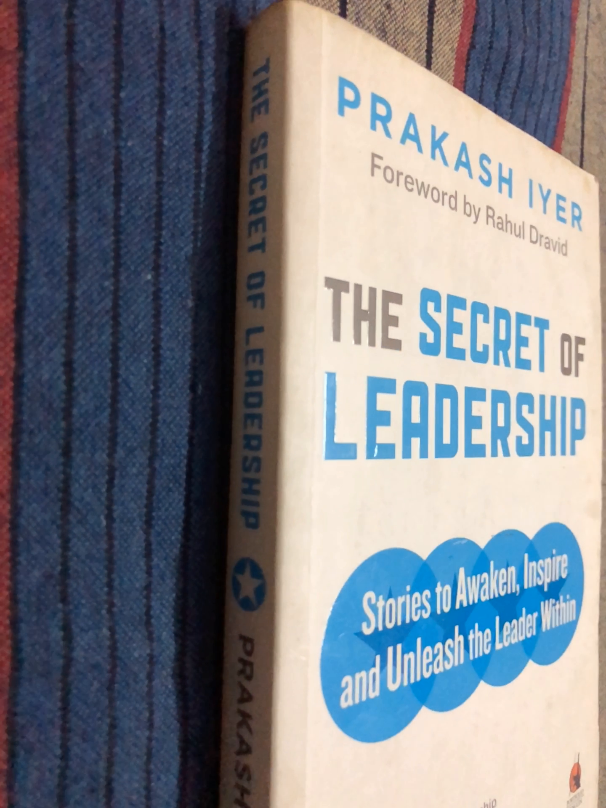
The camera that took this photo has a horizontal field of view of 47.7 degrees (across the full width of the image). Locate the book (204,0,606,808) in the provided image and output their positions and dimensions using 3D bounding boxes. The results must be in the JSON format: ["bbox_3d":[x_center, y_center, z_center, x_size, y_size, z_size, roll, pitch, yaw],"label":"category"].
[{"bbox_3d":[0.043,0.017,0.167,0.141,0.030,0.190,3,86,-45],"label":"book"}]
